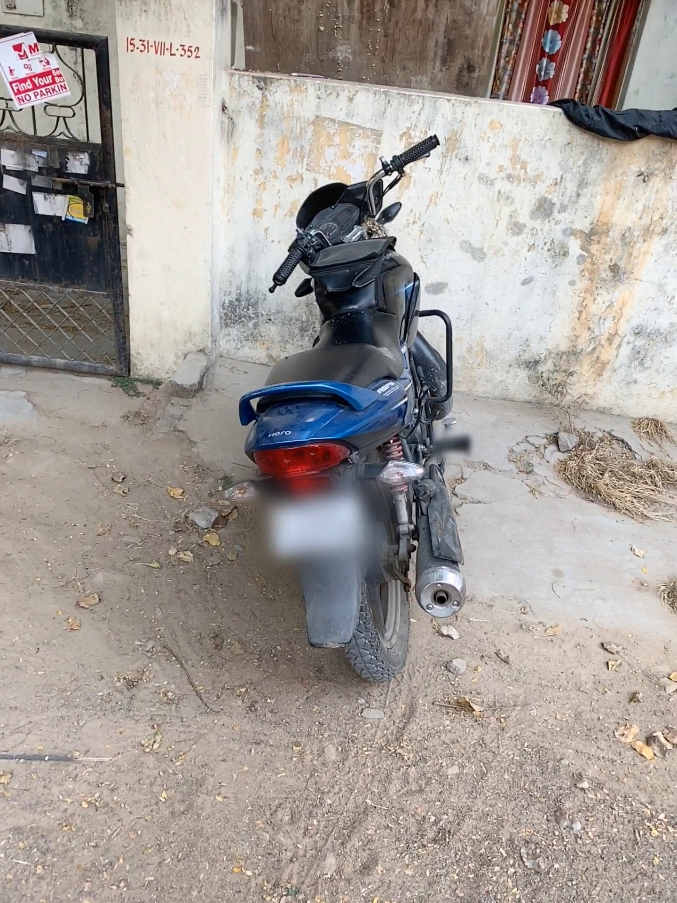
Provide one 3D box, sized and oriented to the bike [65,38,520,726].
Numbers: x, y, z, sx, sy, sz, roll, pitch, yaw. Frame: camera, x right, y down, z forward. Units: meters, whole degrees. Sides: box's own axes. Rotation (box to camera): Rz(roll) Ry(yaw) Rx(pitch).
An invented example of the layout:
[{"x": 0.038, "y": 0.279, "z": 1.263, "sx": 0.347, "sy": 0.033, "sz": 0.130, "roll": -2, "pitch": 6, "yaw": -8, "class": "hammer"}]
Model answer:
[{"x": -0.172, "y": -0.421, "z": 2.121, "sx": 0.754, "sy": 1.234, "sz": 1.712, "roll": 5, "pitch": 33, "yaw": -4, "class": "bike"}]
